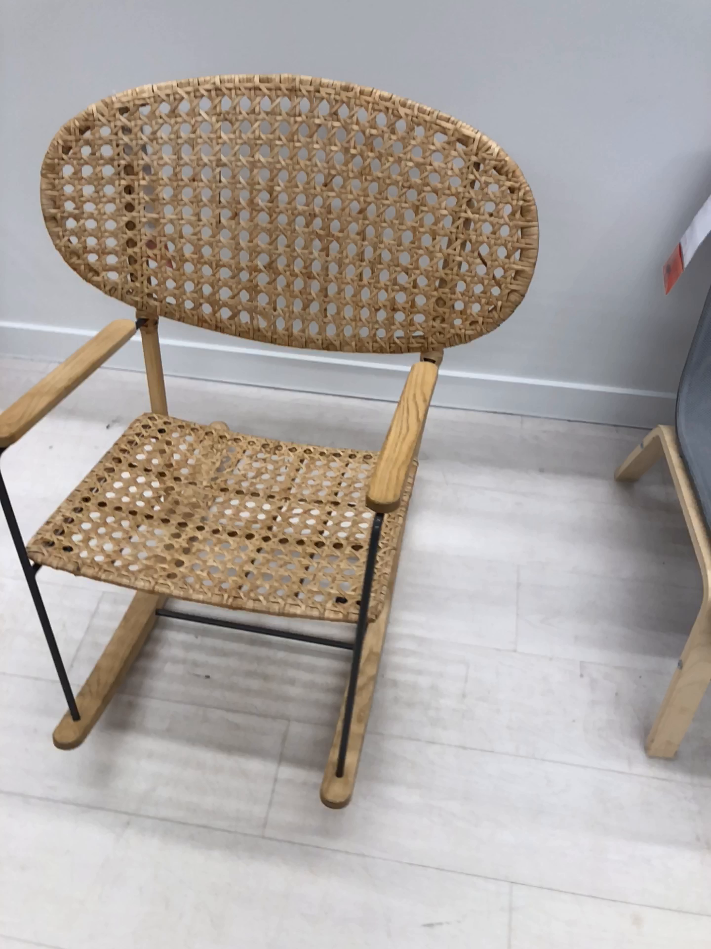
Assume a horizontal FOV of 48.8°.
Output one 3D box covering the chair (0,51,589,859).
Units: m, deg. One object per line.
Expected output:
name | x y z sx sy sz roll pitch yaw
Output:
chair | -0.153 -0.051 1.241 0.830 0.787 0.853 10 49 8
